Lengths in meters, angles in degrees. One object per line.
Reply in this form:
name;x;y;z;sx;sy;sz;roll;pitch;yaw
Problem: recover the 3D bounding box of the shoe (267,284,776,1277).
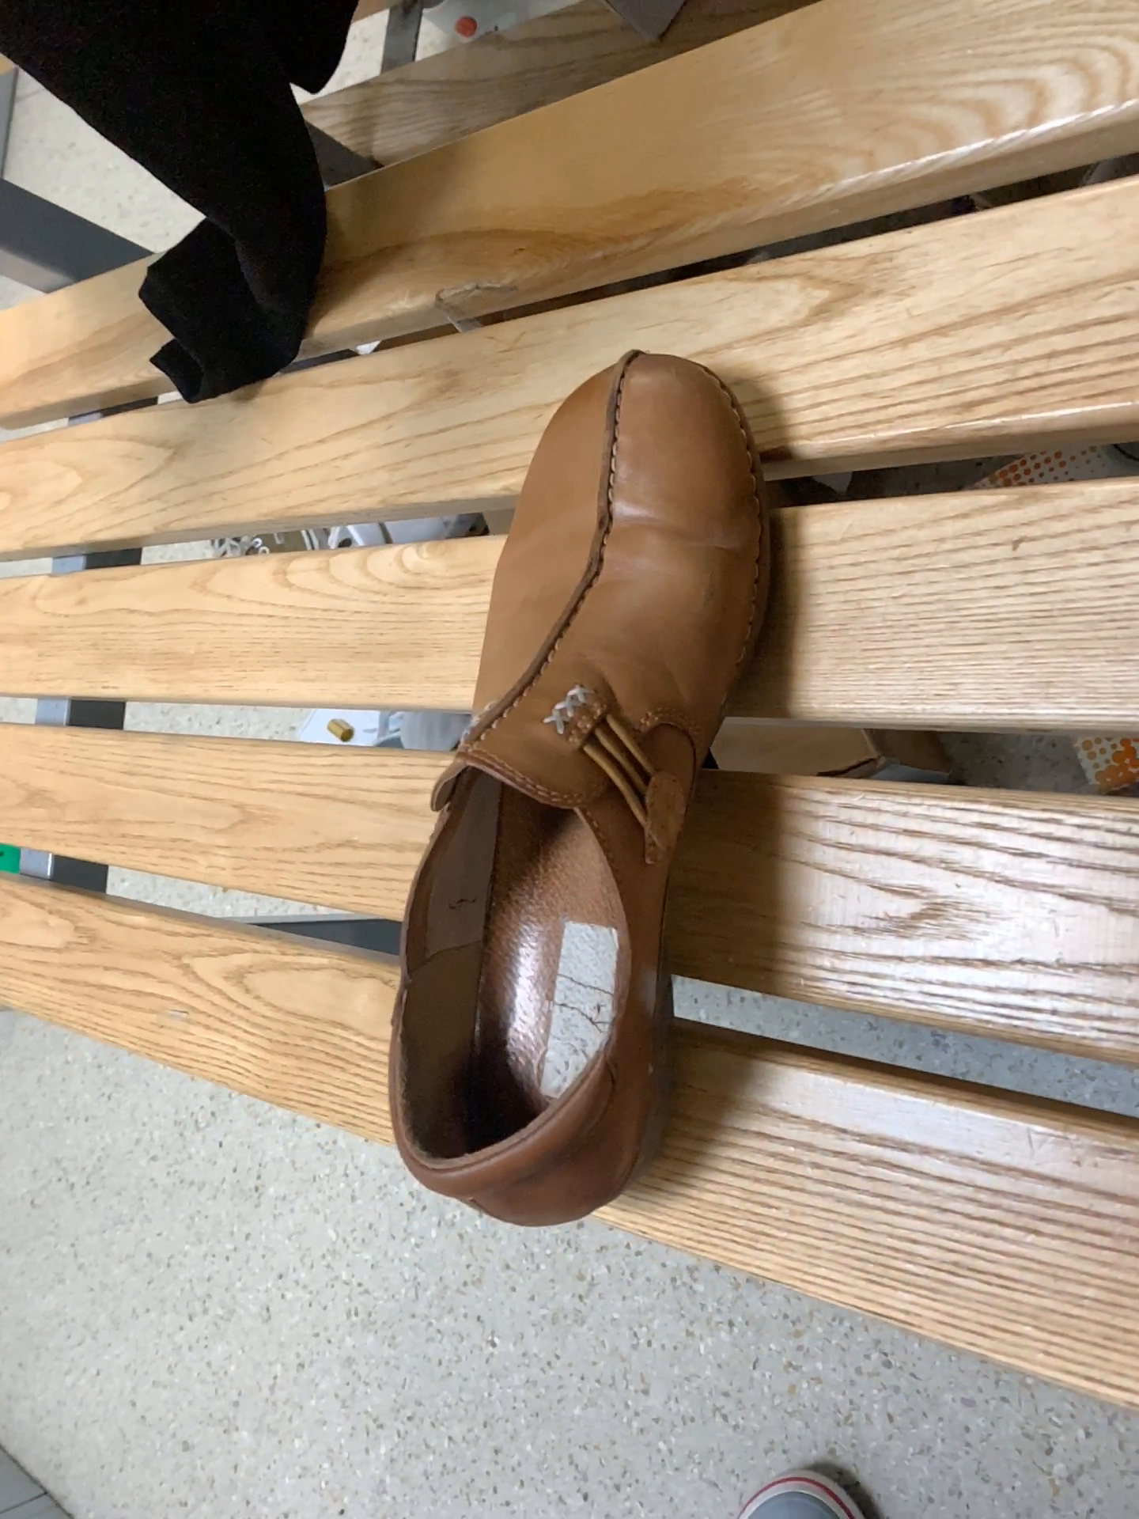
shoe;-0.013;0.005;0.354;0.112;0.085;0.245;0;84;38
